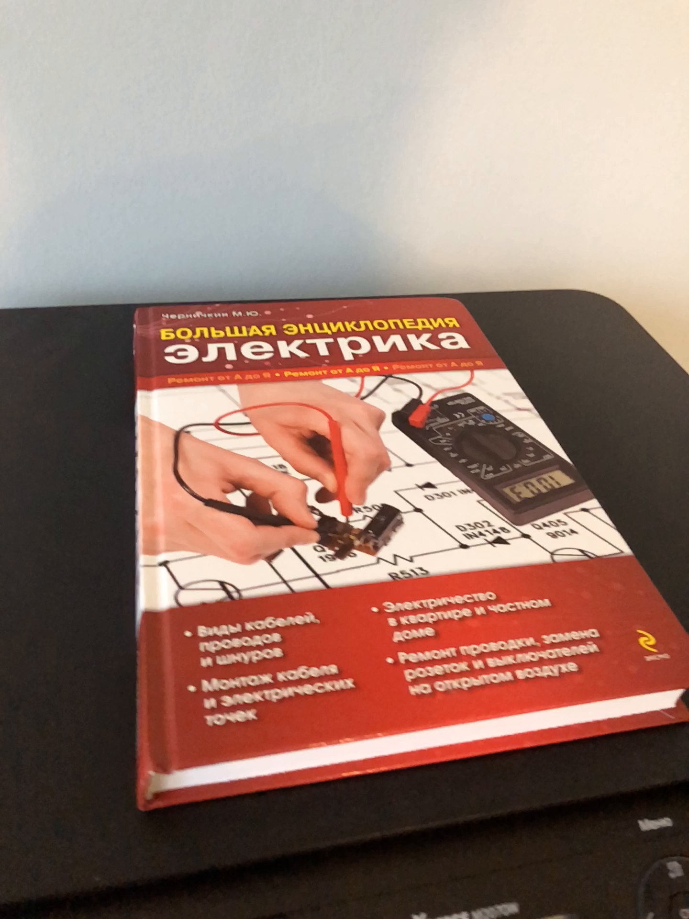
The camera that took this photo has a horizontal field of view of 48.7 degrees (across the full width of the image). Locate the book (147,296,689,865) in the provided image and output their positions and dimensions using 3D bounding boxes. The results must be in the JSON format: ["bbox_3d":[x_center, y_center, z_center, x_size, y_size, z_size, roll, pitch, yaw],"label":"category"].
[{"bbox_3d":[0.012,0.013,0.305,0.170,0.040,0.242,-4,41,-12],"label":"book"}]
